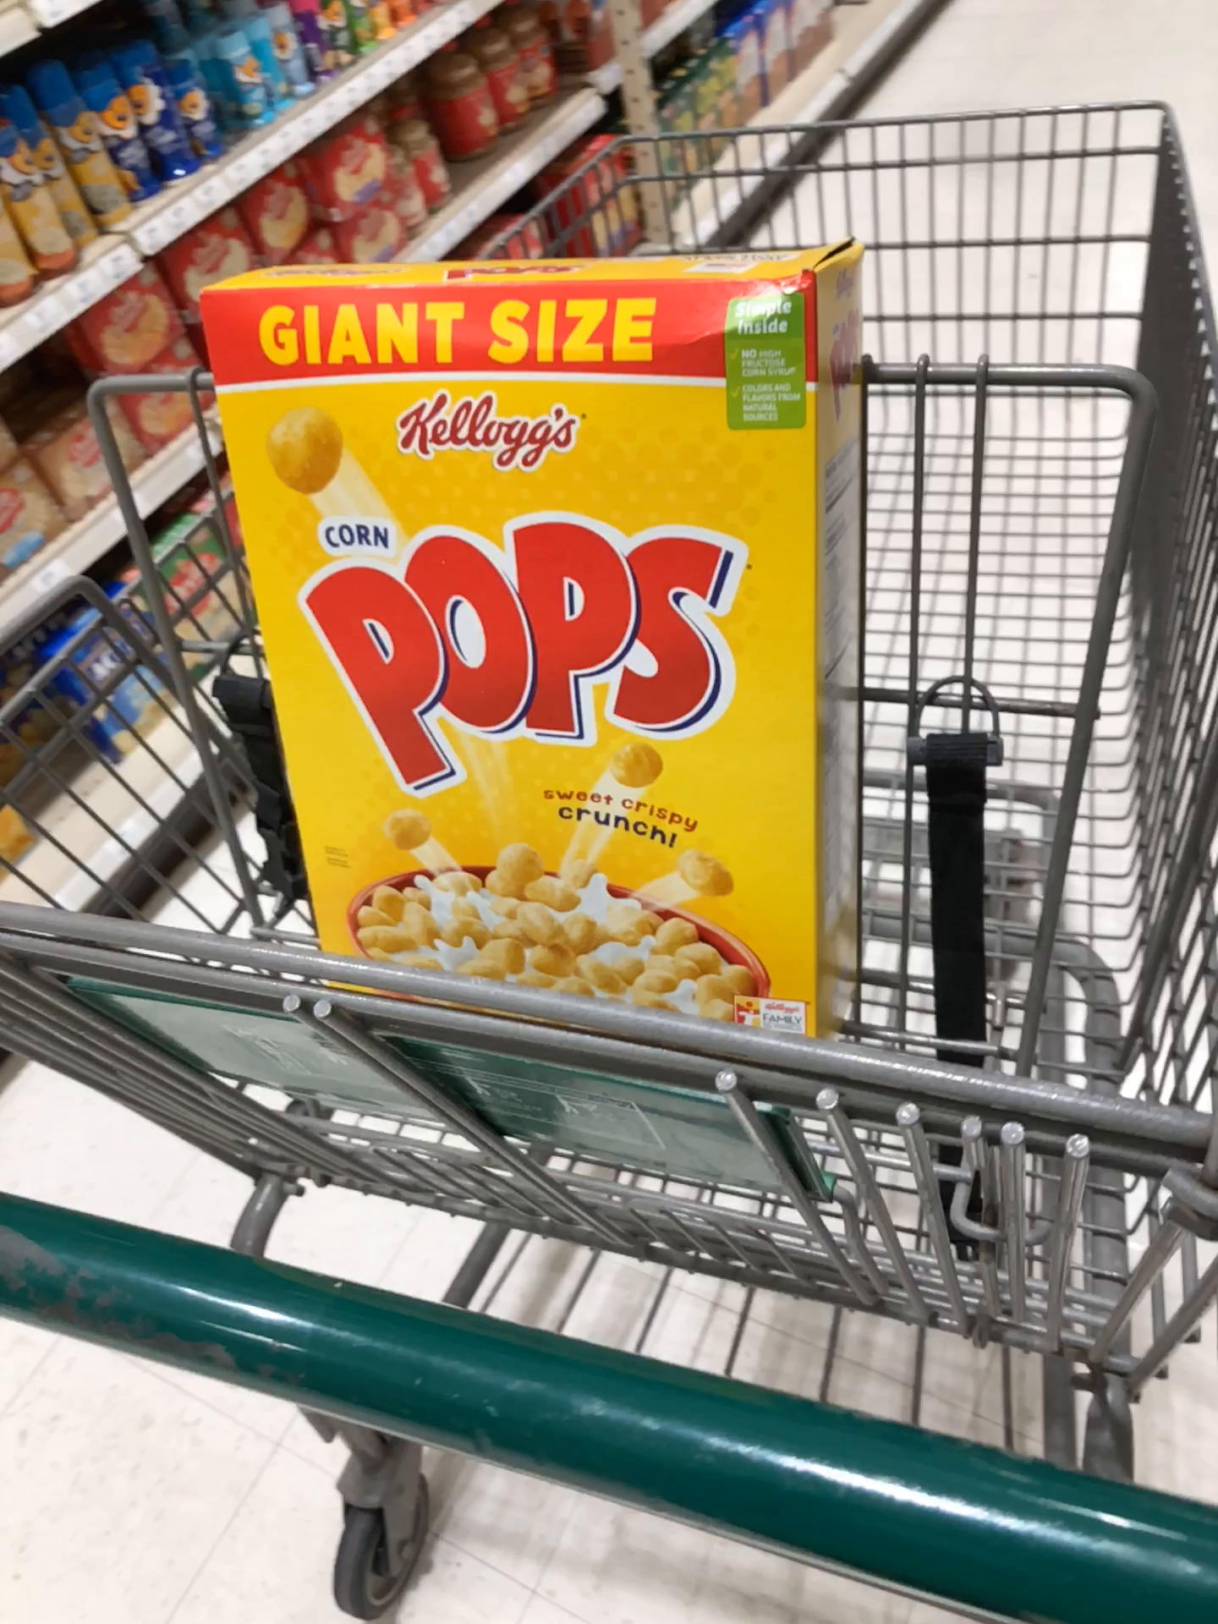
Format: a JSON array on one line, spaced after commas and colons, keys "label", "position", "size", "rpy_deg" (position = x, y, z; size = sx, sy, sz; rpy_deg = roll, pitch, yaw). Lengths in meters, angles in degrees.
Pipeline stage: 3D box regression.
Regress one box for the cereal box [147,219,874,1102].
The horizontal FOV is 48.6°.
[{"label": "cereal box", "position": [-0.026, -0.056, 0.558], "size": [0.250, 0.329, 0.080], "rpy_deg": [6, 30, 20]}]
